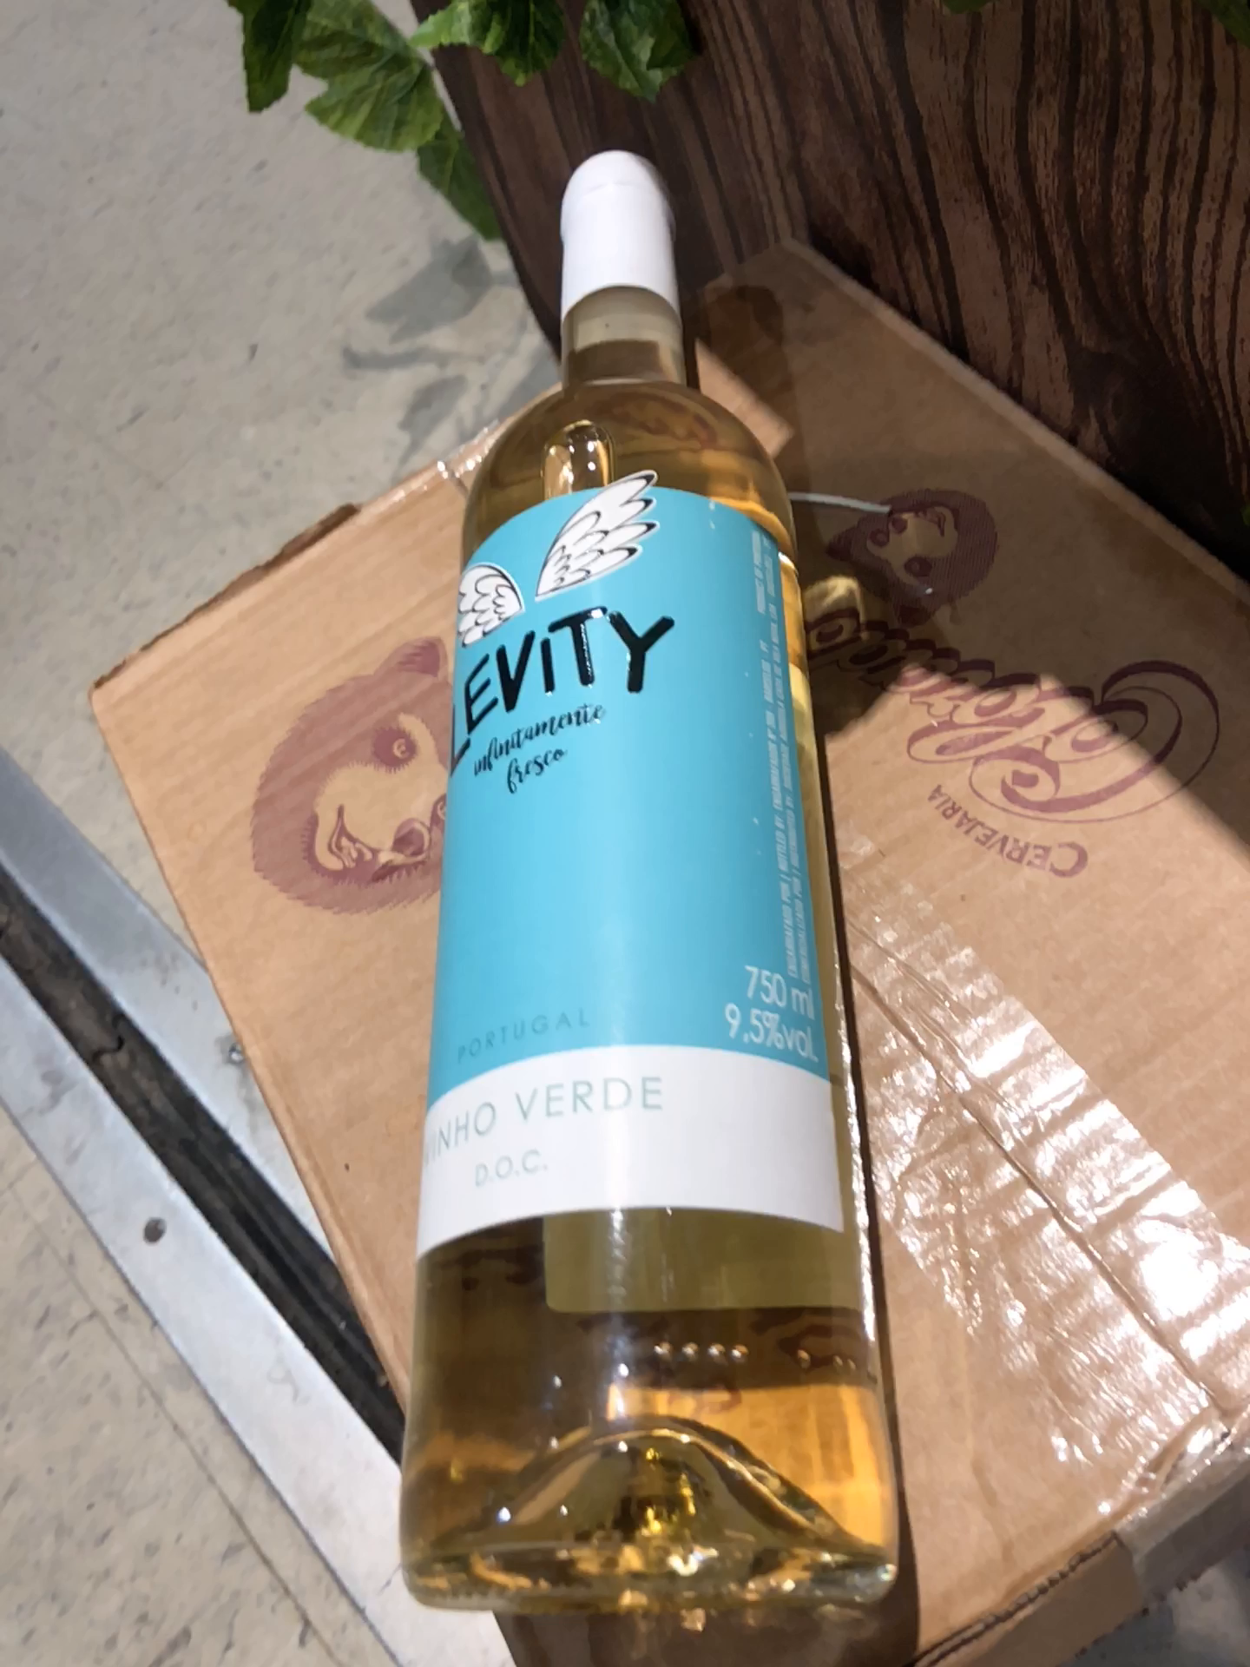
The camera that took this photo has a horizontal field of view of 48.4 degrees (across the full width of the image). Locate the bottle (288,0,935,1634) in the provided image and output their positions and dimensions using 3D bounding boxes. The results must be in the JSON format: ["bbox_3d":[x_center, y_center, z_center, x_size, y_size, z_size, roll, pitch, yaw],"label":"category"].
[{"bbox_3d":[-0.003,-0.038,0.278,0.080,0.050,0.341,-9,60,14],"label":"bottle"}]
